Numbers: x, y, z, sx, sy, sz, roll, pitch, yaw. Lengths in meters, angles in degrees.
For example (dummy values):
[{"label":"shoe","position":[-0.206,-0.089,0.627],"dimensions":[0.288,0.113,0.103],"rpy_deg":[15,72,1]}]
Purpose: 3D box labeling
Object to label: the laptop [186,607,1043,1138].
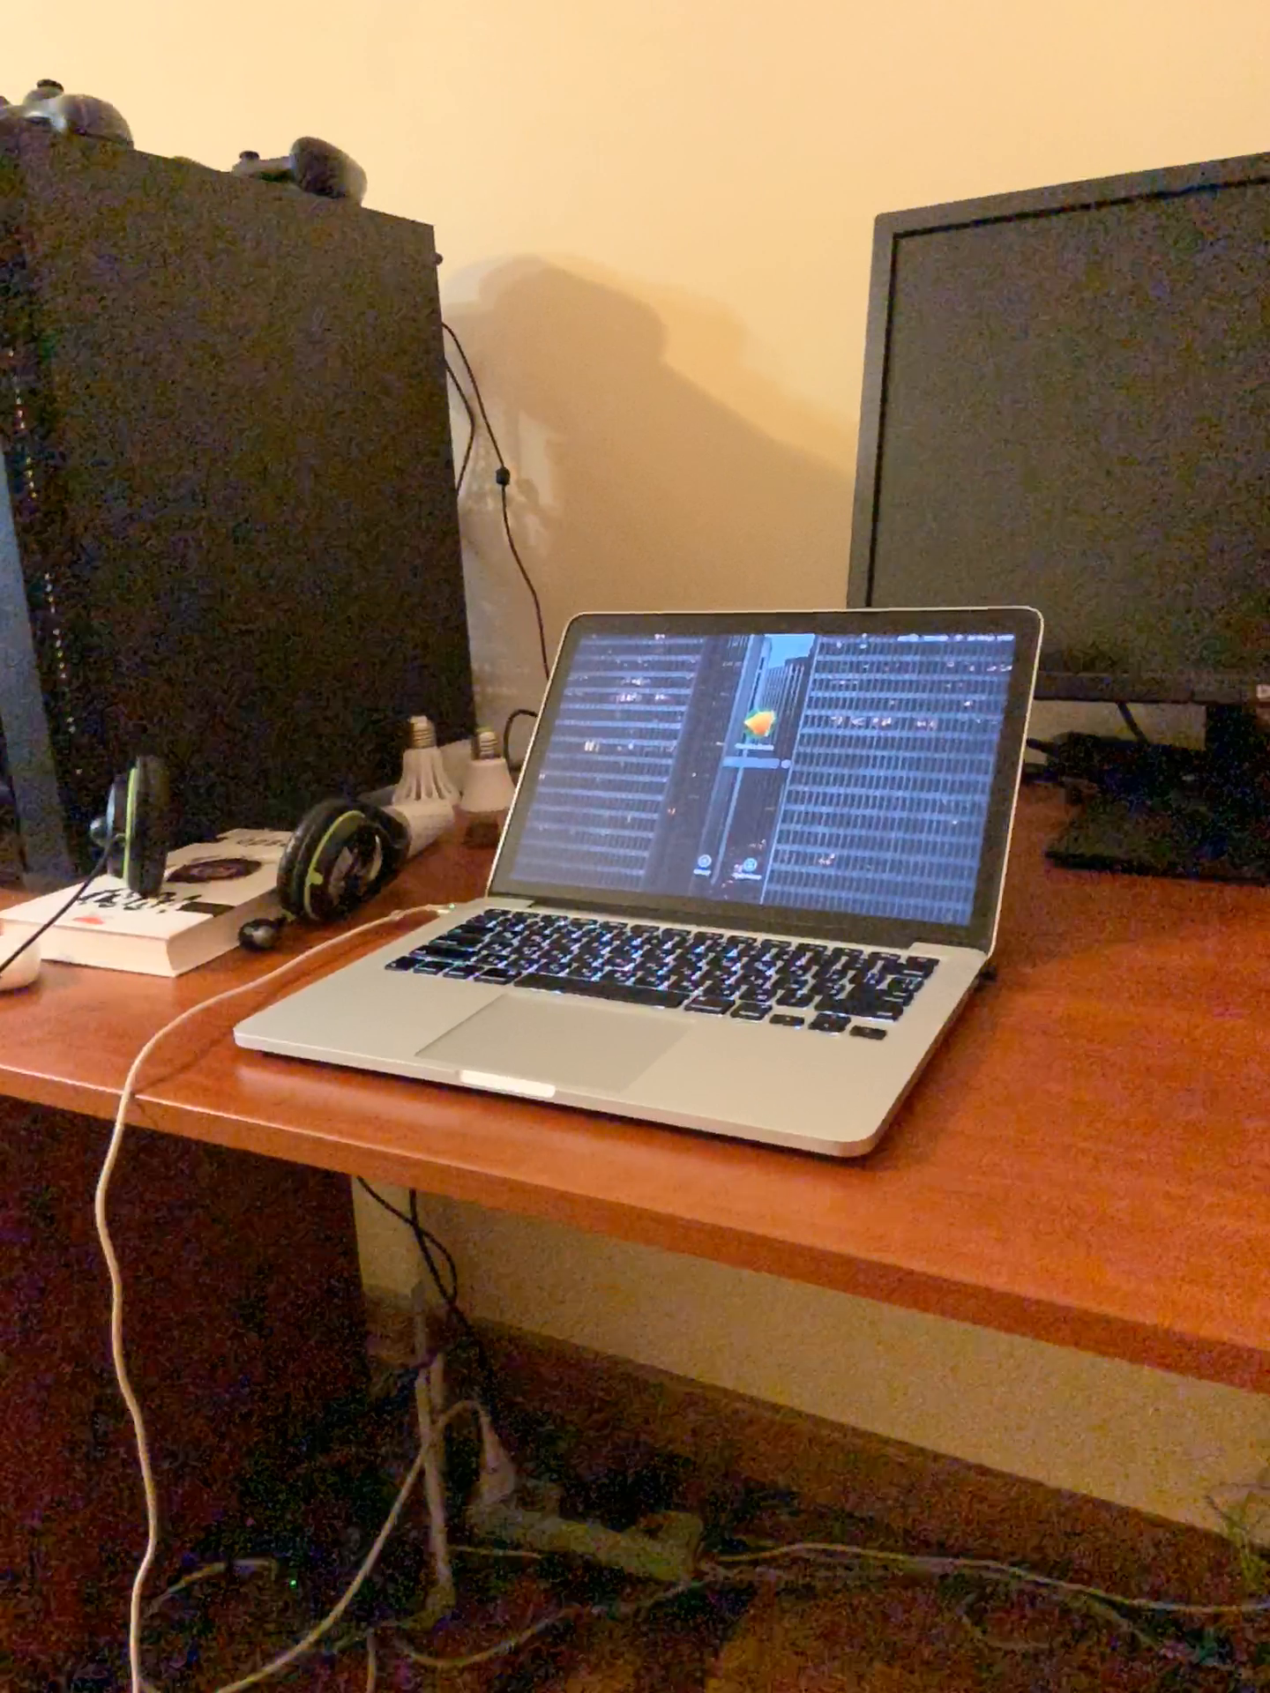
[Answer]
[{"label":"laptop","position":[0.021,-0.024,0.664],"dimensions":[0.300,0.155,0.341],"rpy_deg":[5,17,26]}]
